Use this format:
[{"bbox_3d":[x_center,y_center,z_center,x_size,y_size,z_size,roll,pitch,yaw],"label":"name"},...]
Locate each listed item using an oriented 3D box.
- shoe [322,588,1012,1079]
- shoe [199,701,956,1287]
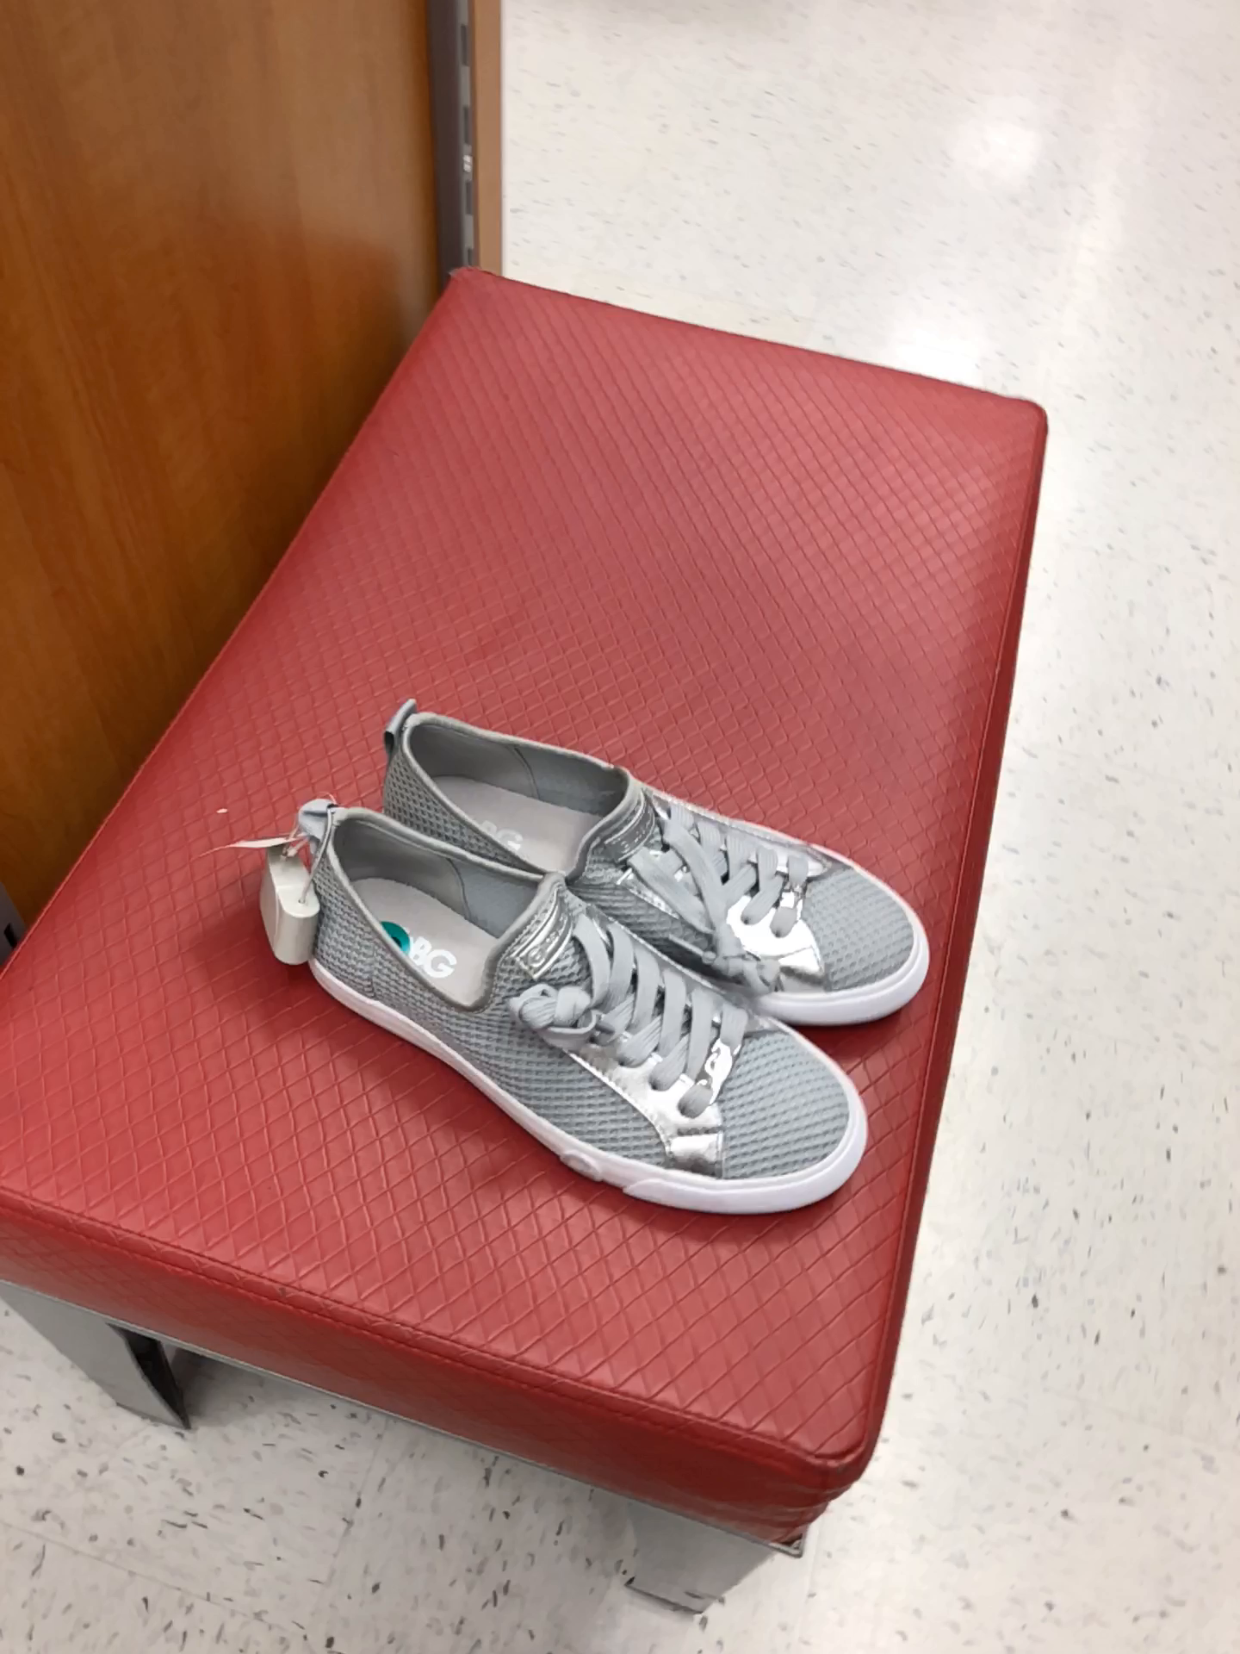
[{"bbox_3d":[0.019,0.000,0.606,0.268,0.095,0.106,18,54,9],"label":"shoe"},{"bbox_3d":[-0.019,0.064,0.557,0.268,0.096,0.106,23,55,12],"label":"shoe"}]
